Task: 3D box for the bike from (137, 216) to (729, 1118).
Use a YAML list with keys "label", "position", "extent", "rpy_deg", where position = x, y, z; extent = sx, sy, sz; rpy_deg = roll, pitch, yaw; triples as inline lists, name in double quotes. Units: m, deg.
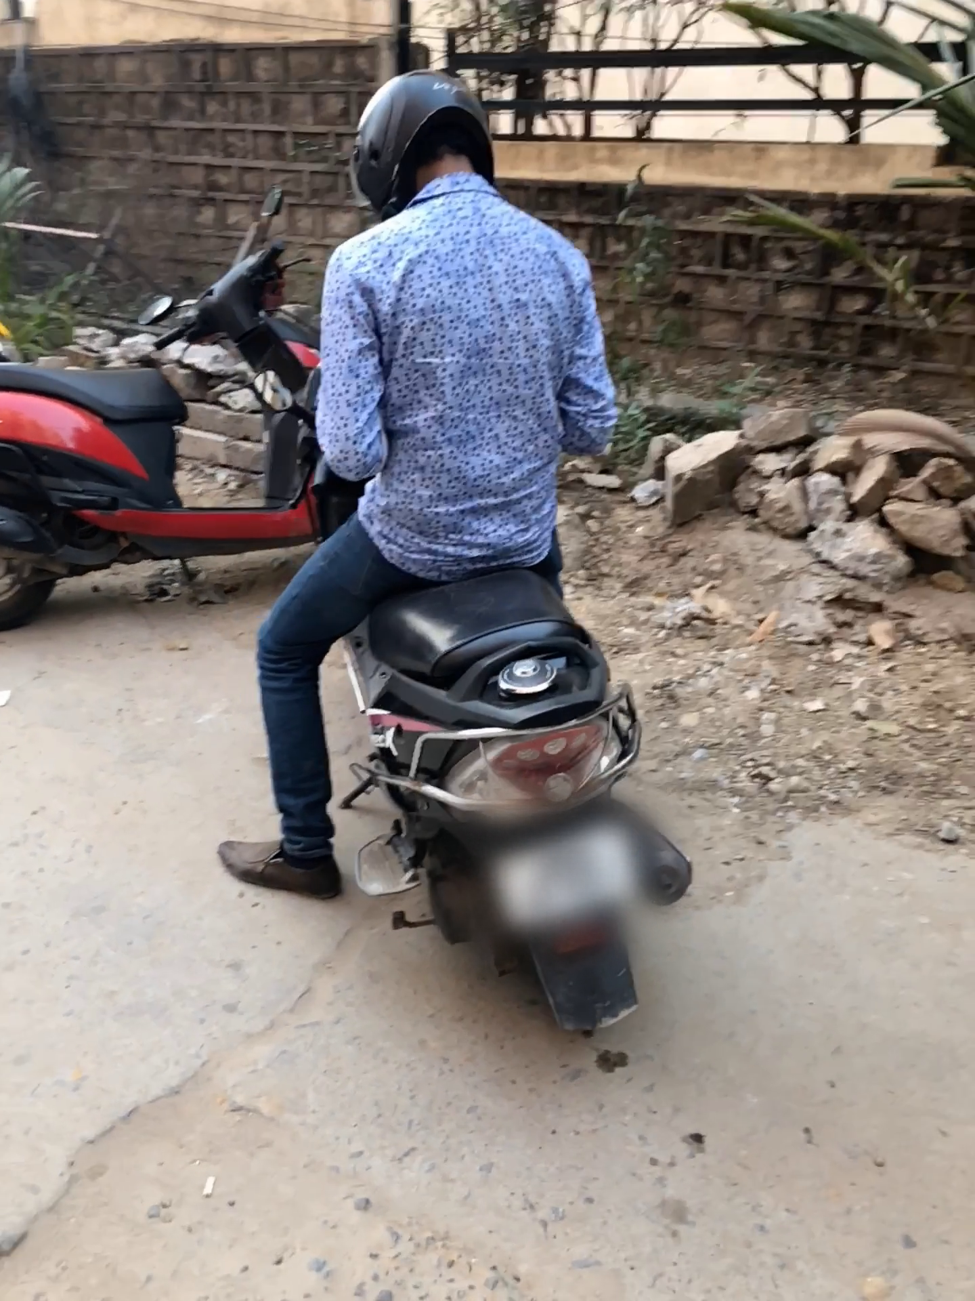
- label: "bike"
  position: [-0.252, -0.157, 2.113]
  extent: [0.559, 1.054, 1.481]
  rpy_deg: [-8, 30, -22]
